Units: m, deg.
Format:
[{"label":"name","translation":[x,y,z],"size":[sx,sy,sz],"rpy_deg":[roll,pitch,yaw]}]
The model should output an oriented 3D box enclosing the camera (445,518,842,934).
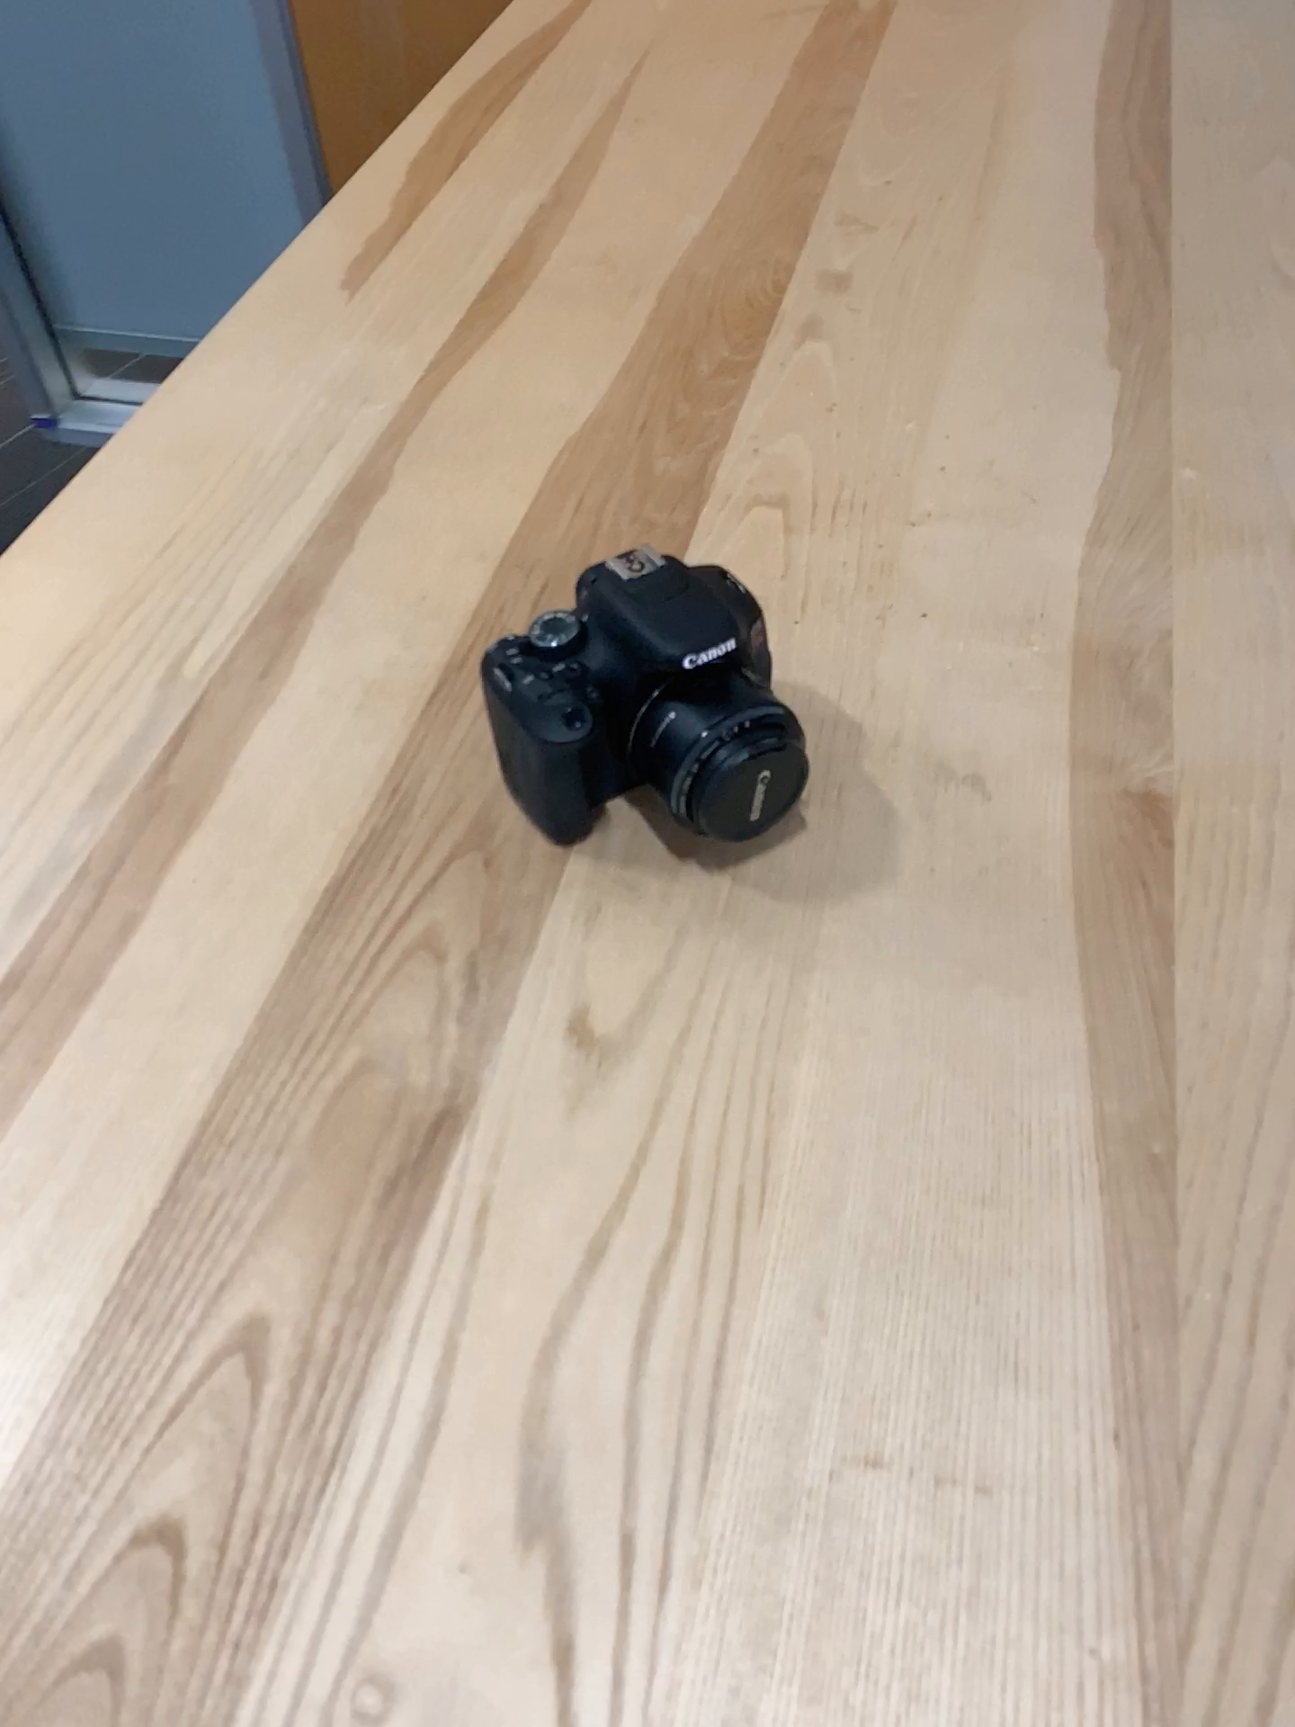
[{"label":"camera","translation":[-0.002,-0.062,0.561],"size":[0.120,0.094,0.112],"rpy_deg":[-26,53,-18]}]
